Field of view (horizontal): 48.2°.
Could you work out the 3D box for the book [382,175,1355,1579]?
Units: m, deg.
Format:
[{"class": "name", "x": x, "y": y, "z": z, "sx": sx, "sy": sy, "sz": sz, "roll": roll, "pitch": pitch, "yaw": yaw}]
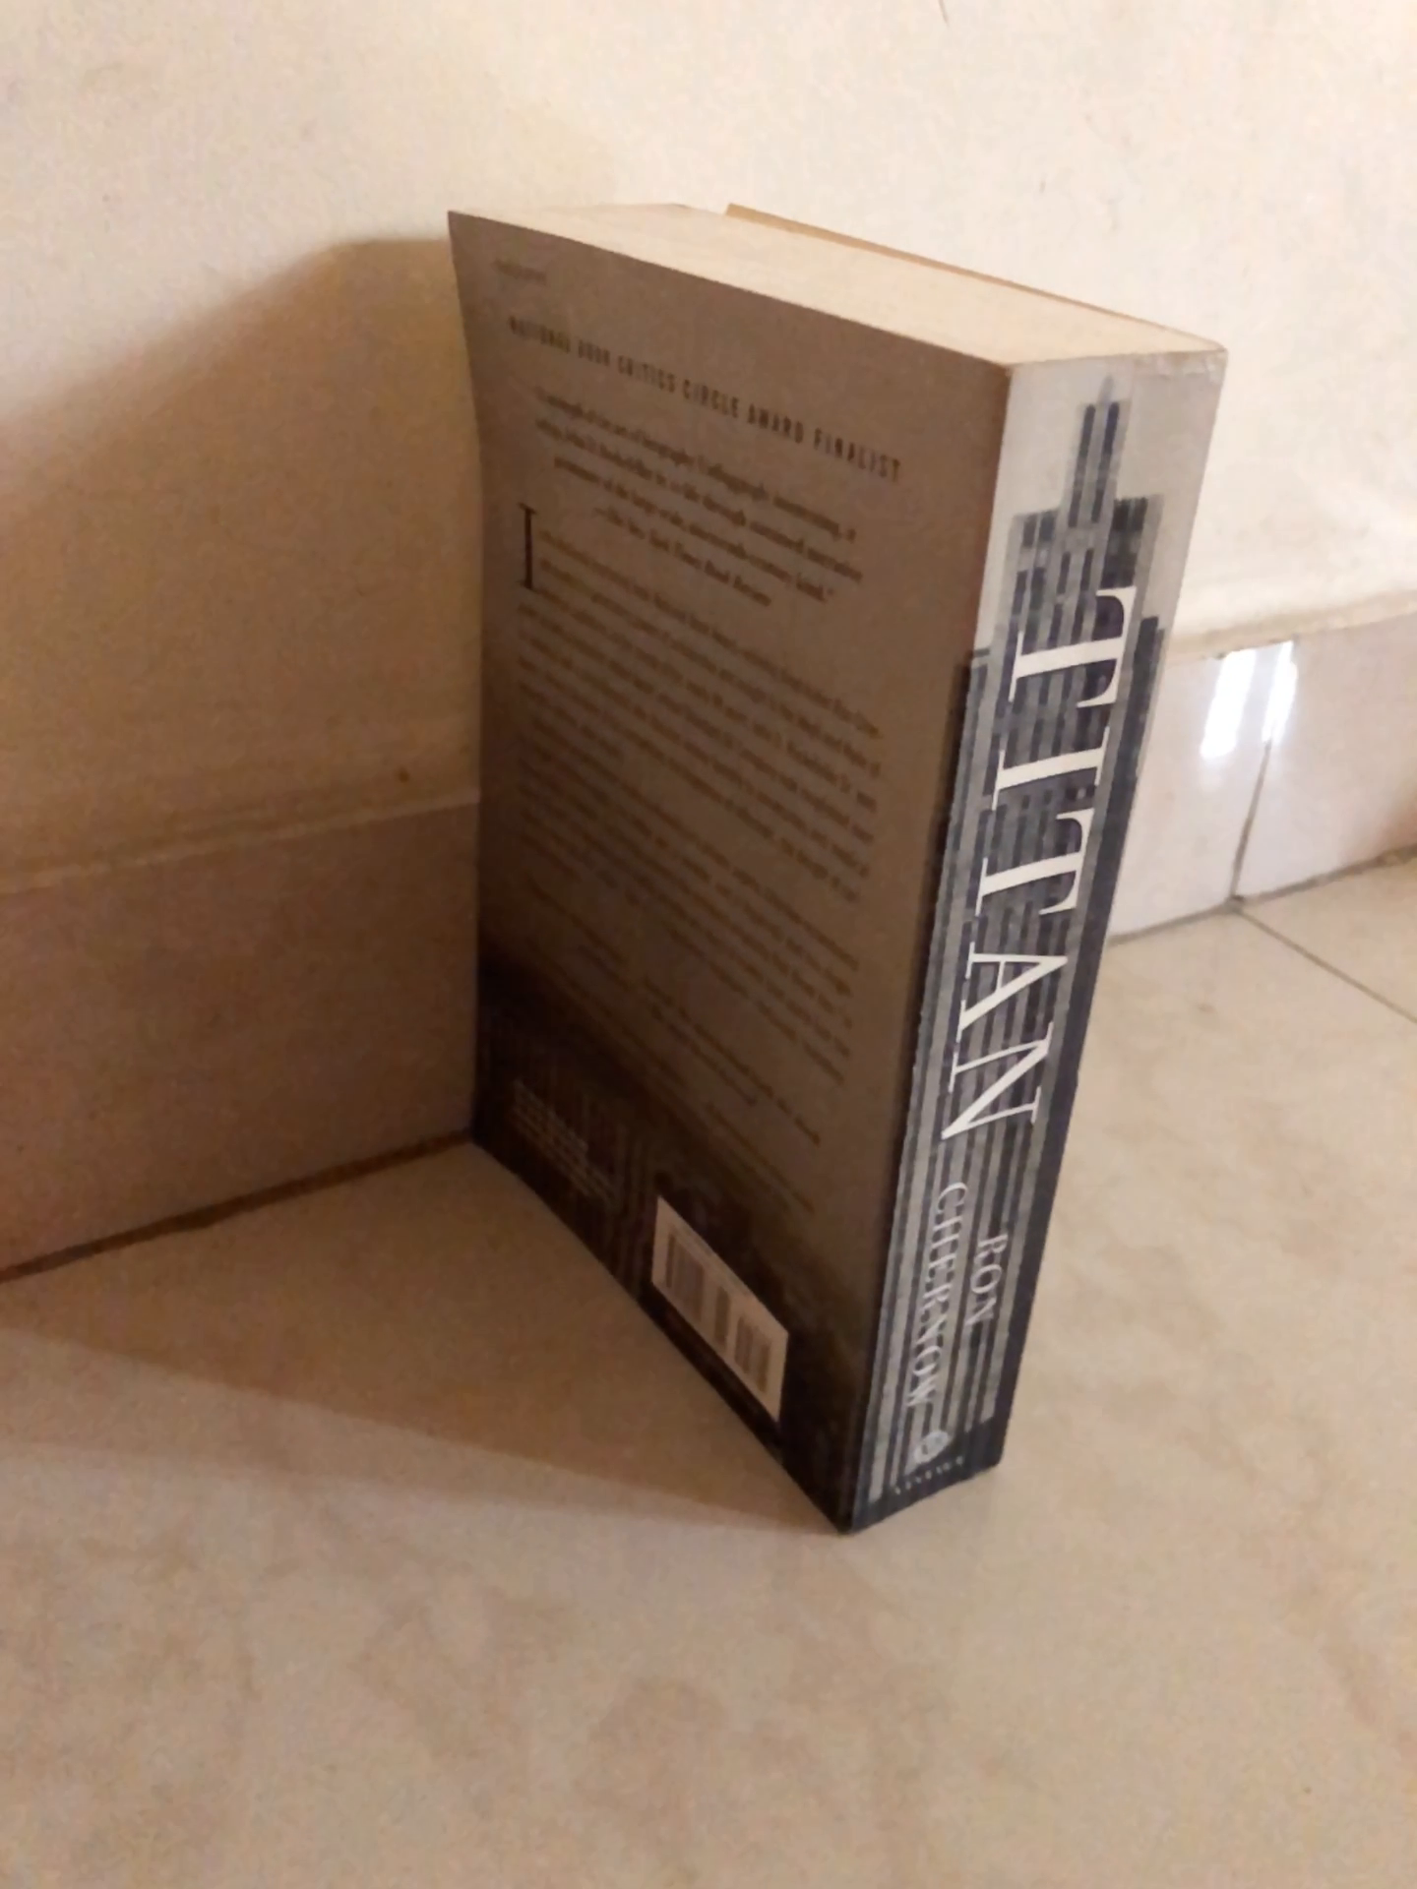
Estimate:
[{"class": "book", "x": 0.006, "y": -0.027, "z": 0.338, "sx": 0.060, "sy": 0.229, "sz": 0.201, "roll": -16, "pitch": 36, "yaw": -30}]
